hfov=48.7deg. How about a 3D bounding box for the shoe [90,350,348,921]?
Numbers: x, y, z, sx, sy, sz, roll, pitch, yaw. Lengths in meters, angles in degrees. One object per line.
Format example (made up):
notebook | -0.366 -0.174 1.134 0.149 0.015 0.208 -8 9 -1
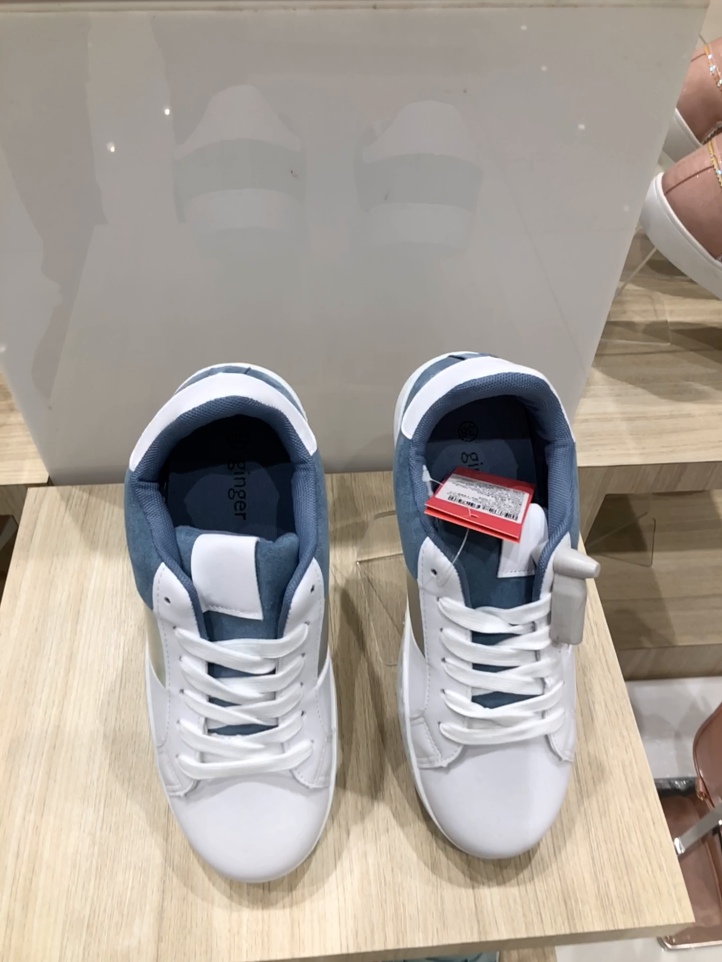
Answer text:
shoe | -0.061 0.068 0.397 0.100 0.260 0.090 -2 10 -3

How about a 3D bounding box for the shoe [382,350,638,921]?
shoe | 0.066 0.068 0.397 0.100 0.260 0.090 -2 10 -3
